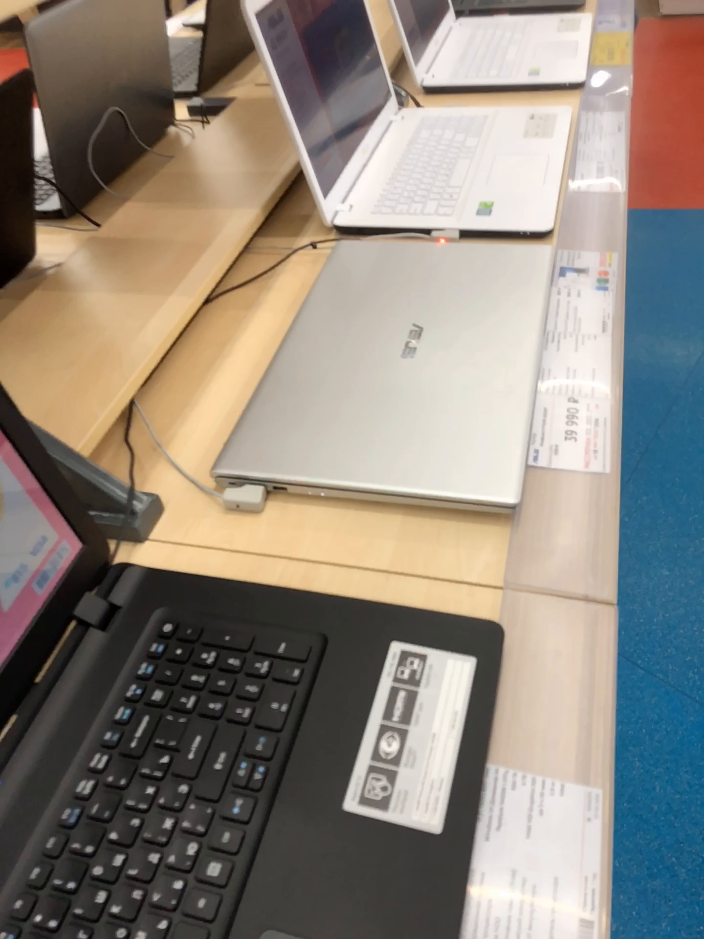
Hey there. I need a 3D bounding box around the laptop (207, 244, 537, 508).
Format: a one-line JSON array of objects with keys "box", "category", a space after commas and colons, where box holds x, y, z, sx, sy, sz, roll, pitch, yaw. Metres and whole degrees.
[{"box": [0.043, -0.119, 0.743, 0.232, 0.006, 0.393, 7, 44, 14], "category": "laptop"}]
